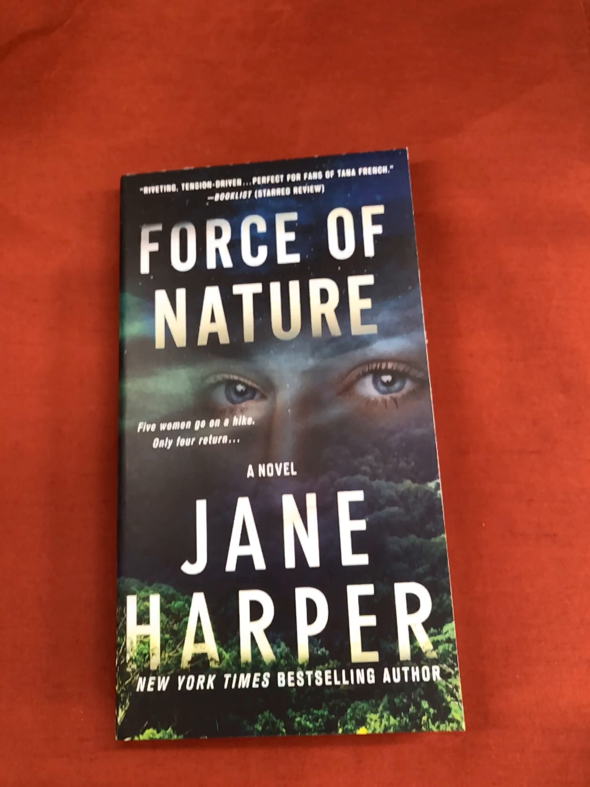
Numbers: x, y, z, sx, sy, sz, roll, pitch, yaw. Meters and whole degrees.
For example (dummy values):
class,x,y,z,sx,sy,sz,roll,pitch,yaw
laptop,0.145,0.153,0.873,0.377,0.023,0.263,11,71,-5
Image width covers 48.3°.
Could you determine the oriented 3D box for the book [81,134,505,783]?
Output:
class,x,y,z,sx,sy,sz,roll,pitch,yaw
book,-0.004,0.018,0.217,0.110,0.050,0.180,-5,83,3
